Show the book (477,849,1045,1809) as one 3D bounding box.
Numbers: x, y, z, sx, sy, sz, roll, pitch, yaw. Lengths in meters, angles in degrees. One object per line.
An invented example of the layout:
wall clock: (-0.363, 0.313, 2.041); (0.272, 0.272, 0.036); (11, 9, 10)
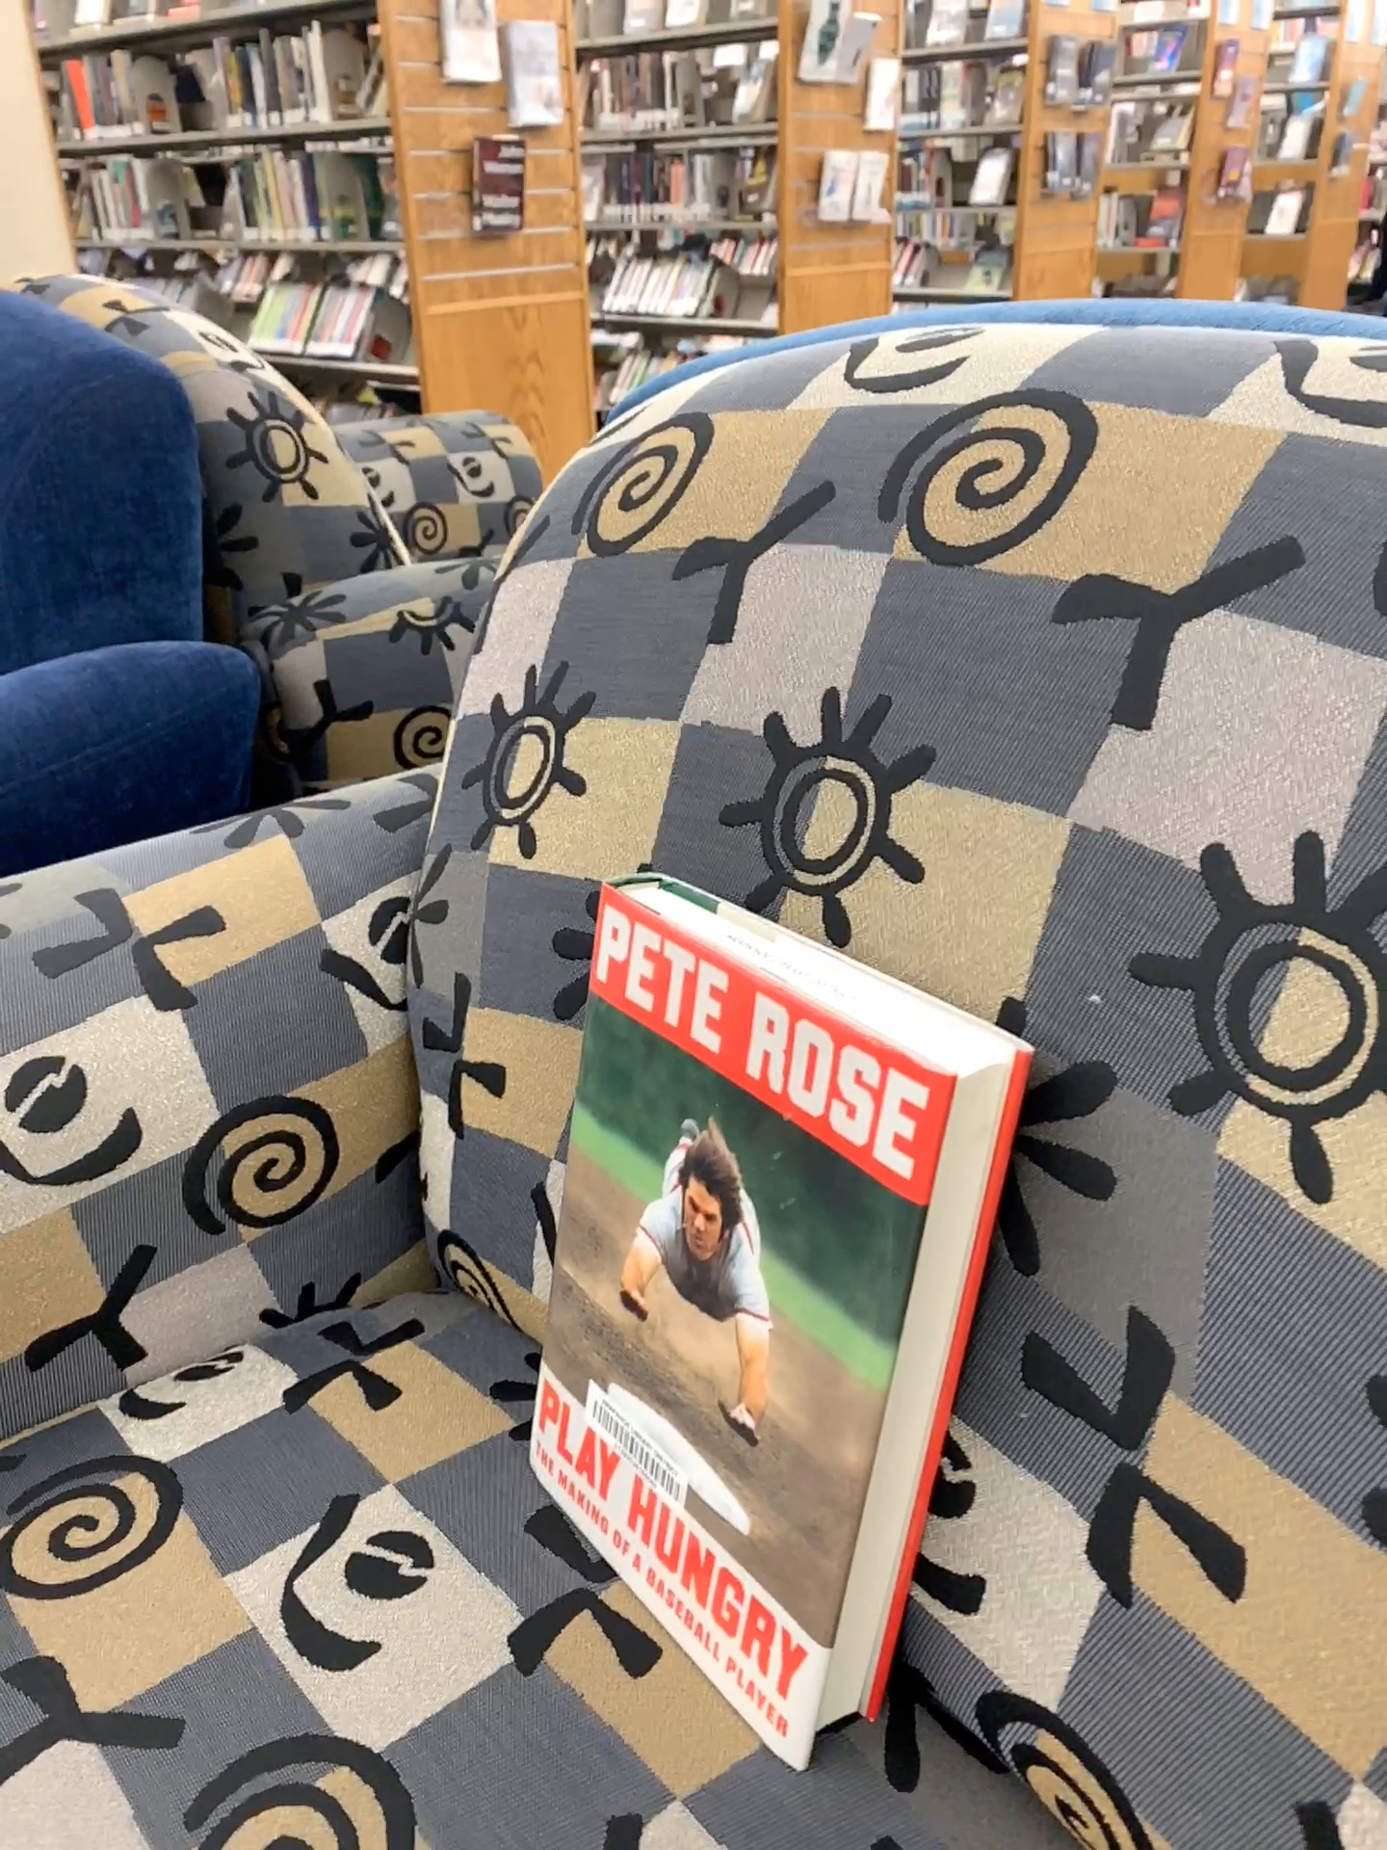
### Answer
book: (0.005, 0.122, 0.485); (0.040, 0.249, 0.191); (-6, 22, -39)
